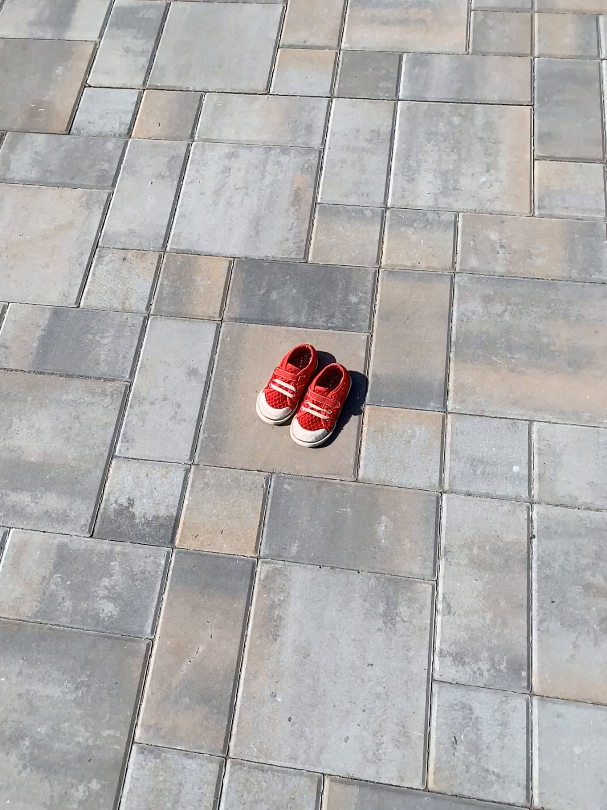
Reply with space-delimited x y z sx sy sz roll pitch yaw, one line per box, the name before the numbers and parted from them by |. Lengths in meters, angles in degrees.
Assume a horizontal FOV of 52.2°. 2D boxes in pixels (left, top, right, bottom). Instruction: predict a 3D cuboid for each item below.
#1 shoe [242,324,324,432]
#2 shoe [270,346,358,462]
shoe | -0.034 -0.049 1.155 0.070 0.100 0.160 29 72 15
shoe | 0.023 -0.001 1.146 0.090 0.100 0.170 24 71 13
